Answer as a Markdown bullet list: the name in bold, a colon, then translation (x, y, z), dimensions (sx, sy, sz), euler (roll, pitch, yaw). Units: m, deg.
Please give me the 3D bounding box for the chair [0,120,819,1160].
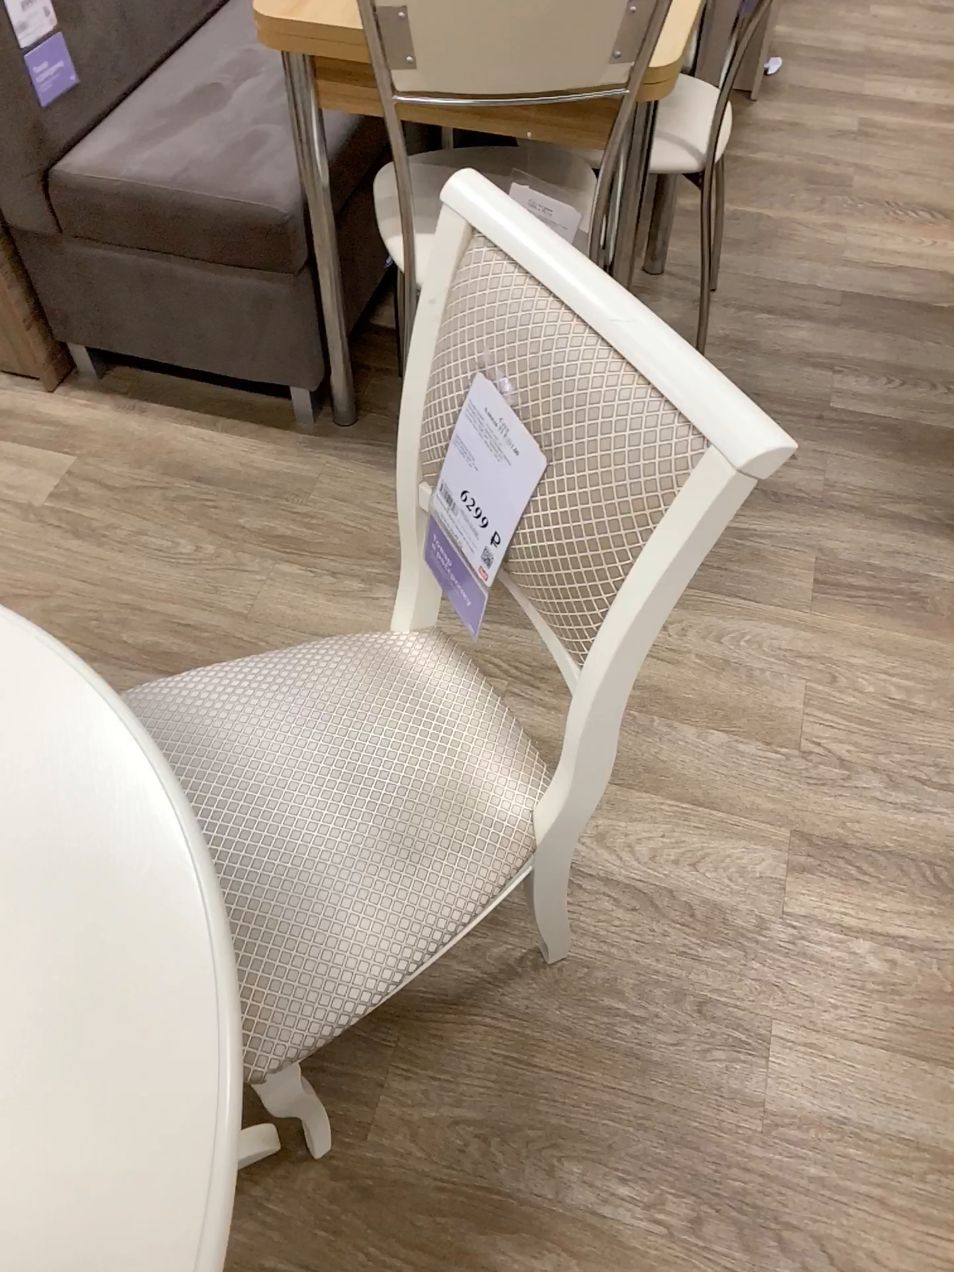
- **chair**: translation (-0.122, 0.089, 1.014), dimensions (0.511, 0.906, 0.461), euler (-30, 59, -21)
